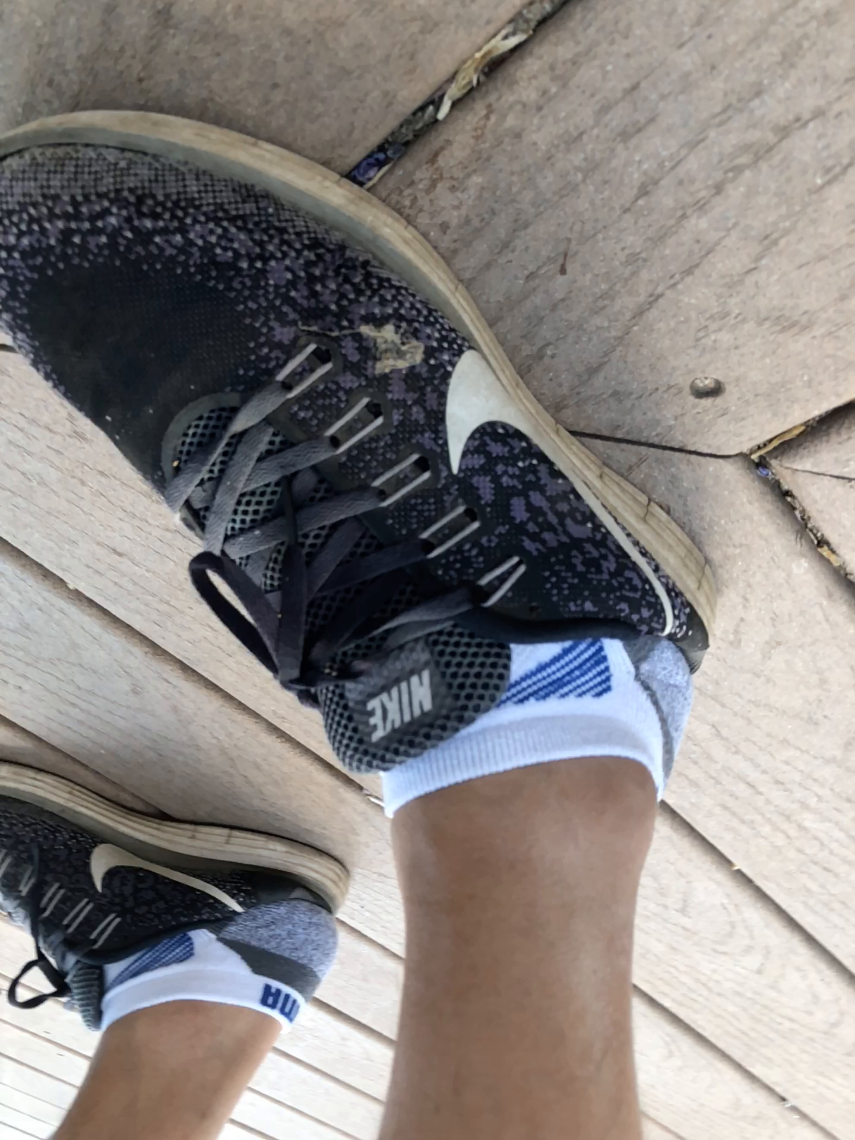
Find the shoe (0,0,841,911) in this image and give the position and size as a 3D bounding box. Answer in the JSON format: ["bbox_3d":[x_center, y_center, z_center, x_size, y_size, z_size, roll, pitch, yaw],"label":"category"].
[{"bbox_3d":[-0.022,-0.021,0.305,0.300,0.099,0.131,37,134,-17],"label":"shoe"}]
